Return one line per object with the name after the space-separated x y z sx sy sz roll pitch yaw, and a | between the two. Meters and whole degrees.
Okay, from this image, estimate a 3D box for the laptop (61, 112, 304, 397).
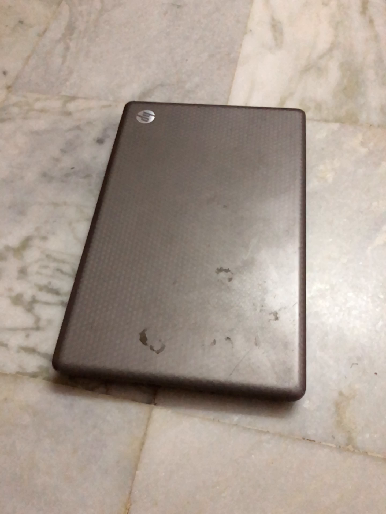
0.007 -0.037 0.529 0.248 0.002 0.379 5 62 7 | laptop
